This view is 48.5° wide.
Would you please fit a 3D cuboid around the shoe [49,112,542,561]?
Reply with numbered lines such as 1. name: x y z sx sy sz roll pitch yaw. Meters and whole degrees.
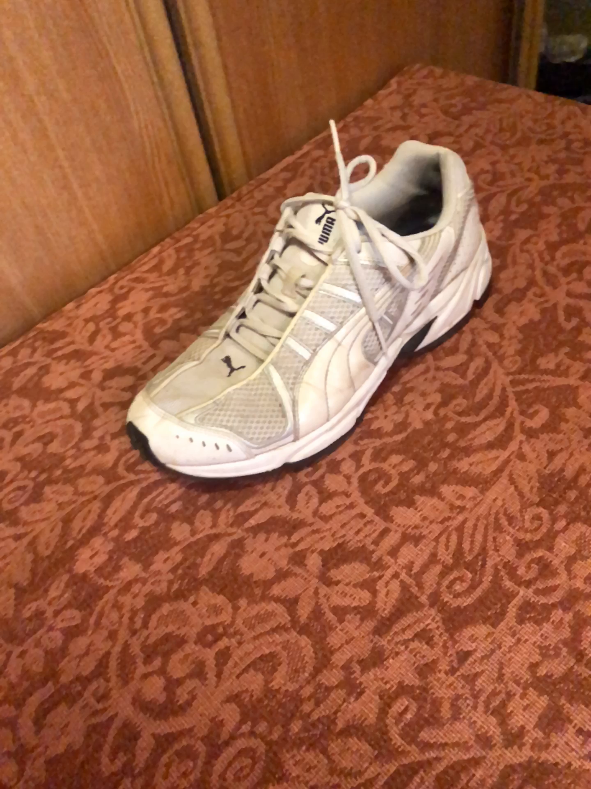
1. shoe: 0.018 -0.051 0.404 0.290 0.100 0.100 -40 53 -22
